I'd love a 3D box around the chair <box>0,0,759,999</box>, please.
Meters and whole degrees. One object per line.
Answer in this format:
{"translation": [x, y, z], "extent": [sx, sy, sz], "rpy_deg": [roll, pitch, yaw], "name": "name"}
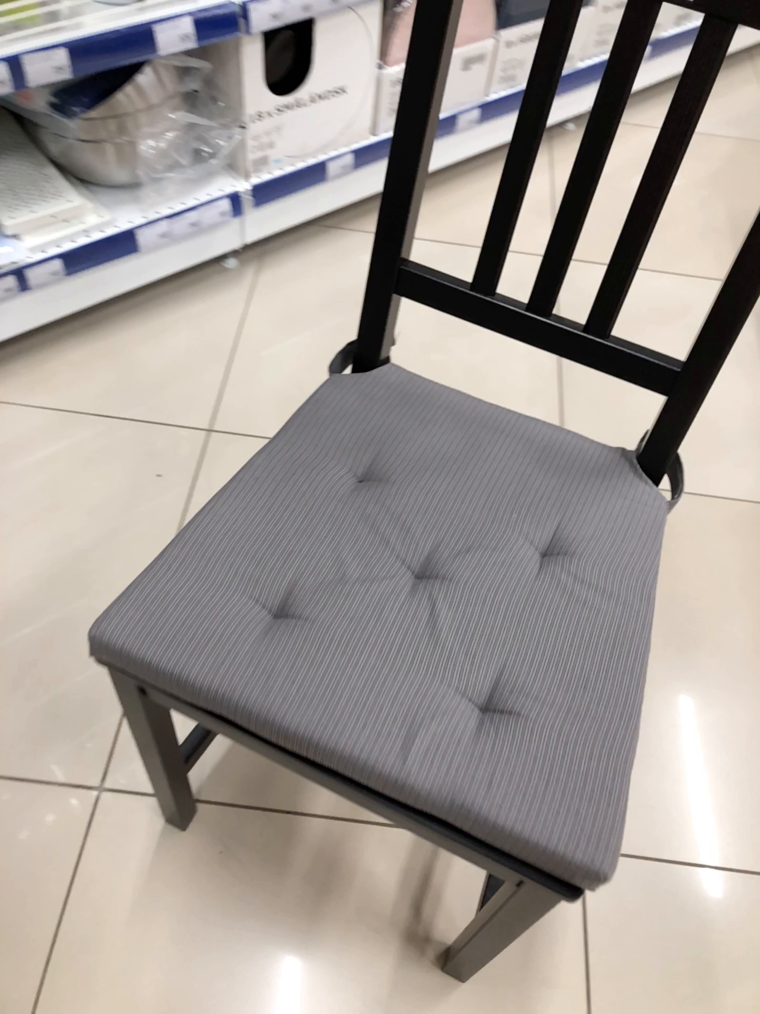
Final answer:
{"translation": [0.030, 0.028, 0.721], "extent": [0.400, 0.854, 0.463], "rpy_deg": [22, 54, 11], "name": "chair"}
